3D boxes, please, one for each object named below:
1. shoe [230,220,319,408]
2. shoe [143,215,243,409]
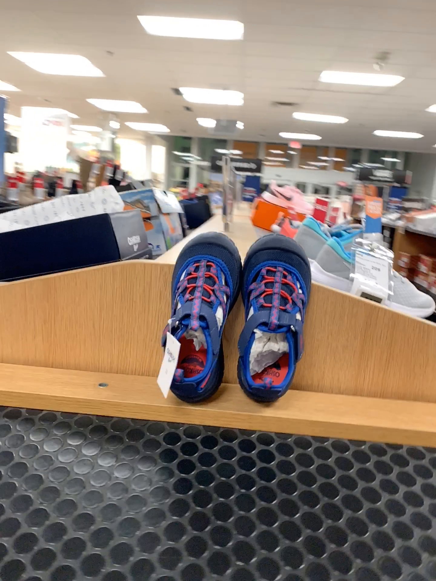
[{"bbox_3d":[0.061,0.027,0.503,0.080,0.190,0.080,5,-9,2],"label":"shoe"},{"bbox_3d":[-0.021,0.025,0.499,0.080,0.190,0.100,5,-9,4],"label":"shoe"}]
